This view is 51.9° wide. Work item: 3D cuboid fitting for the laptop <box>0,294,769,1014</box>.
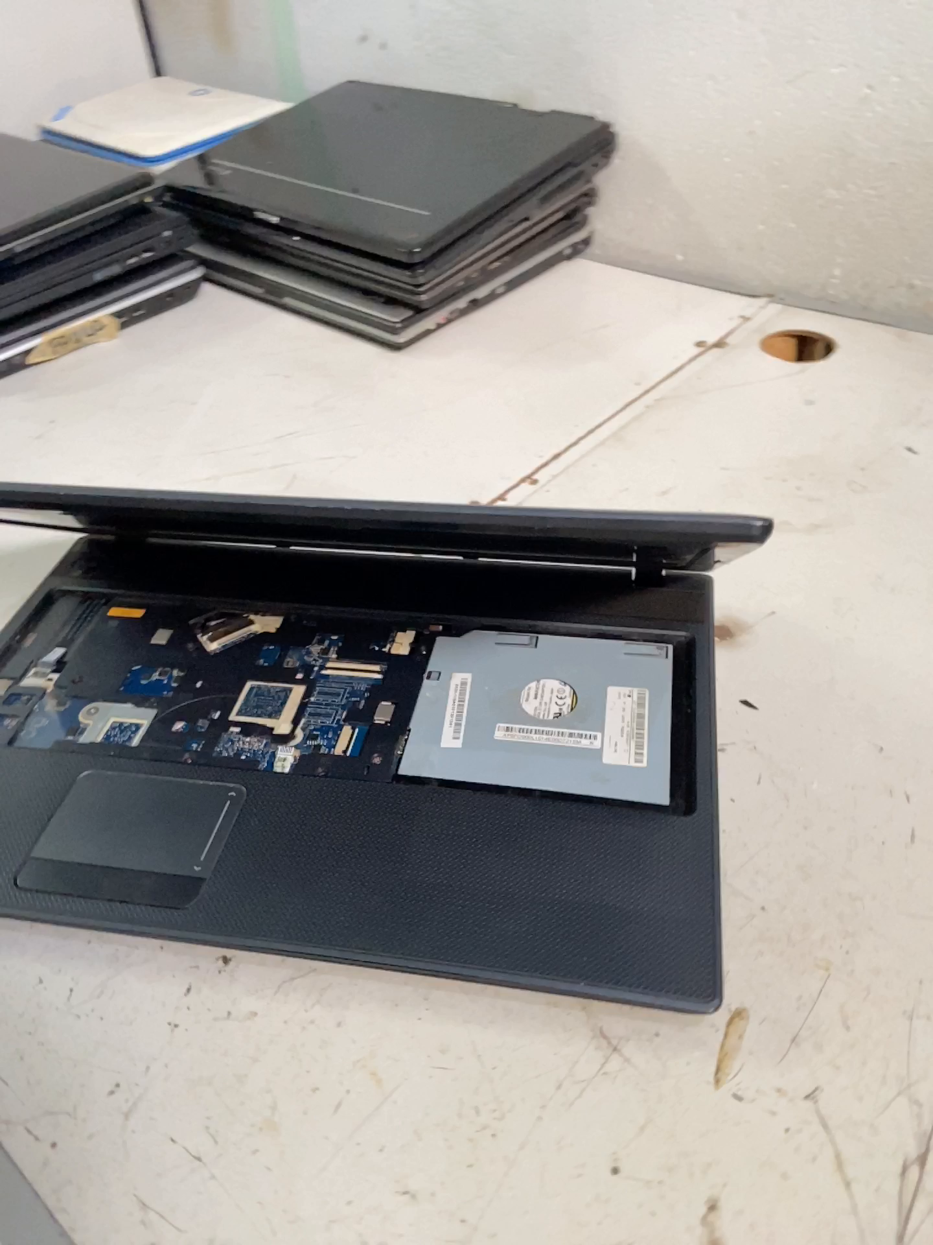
[{"bbox_3d":[-0.080,-0.015,0.406,0.370,0.156,0.240,4,41,11],"label":"laptop"}]
